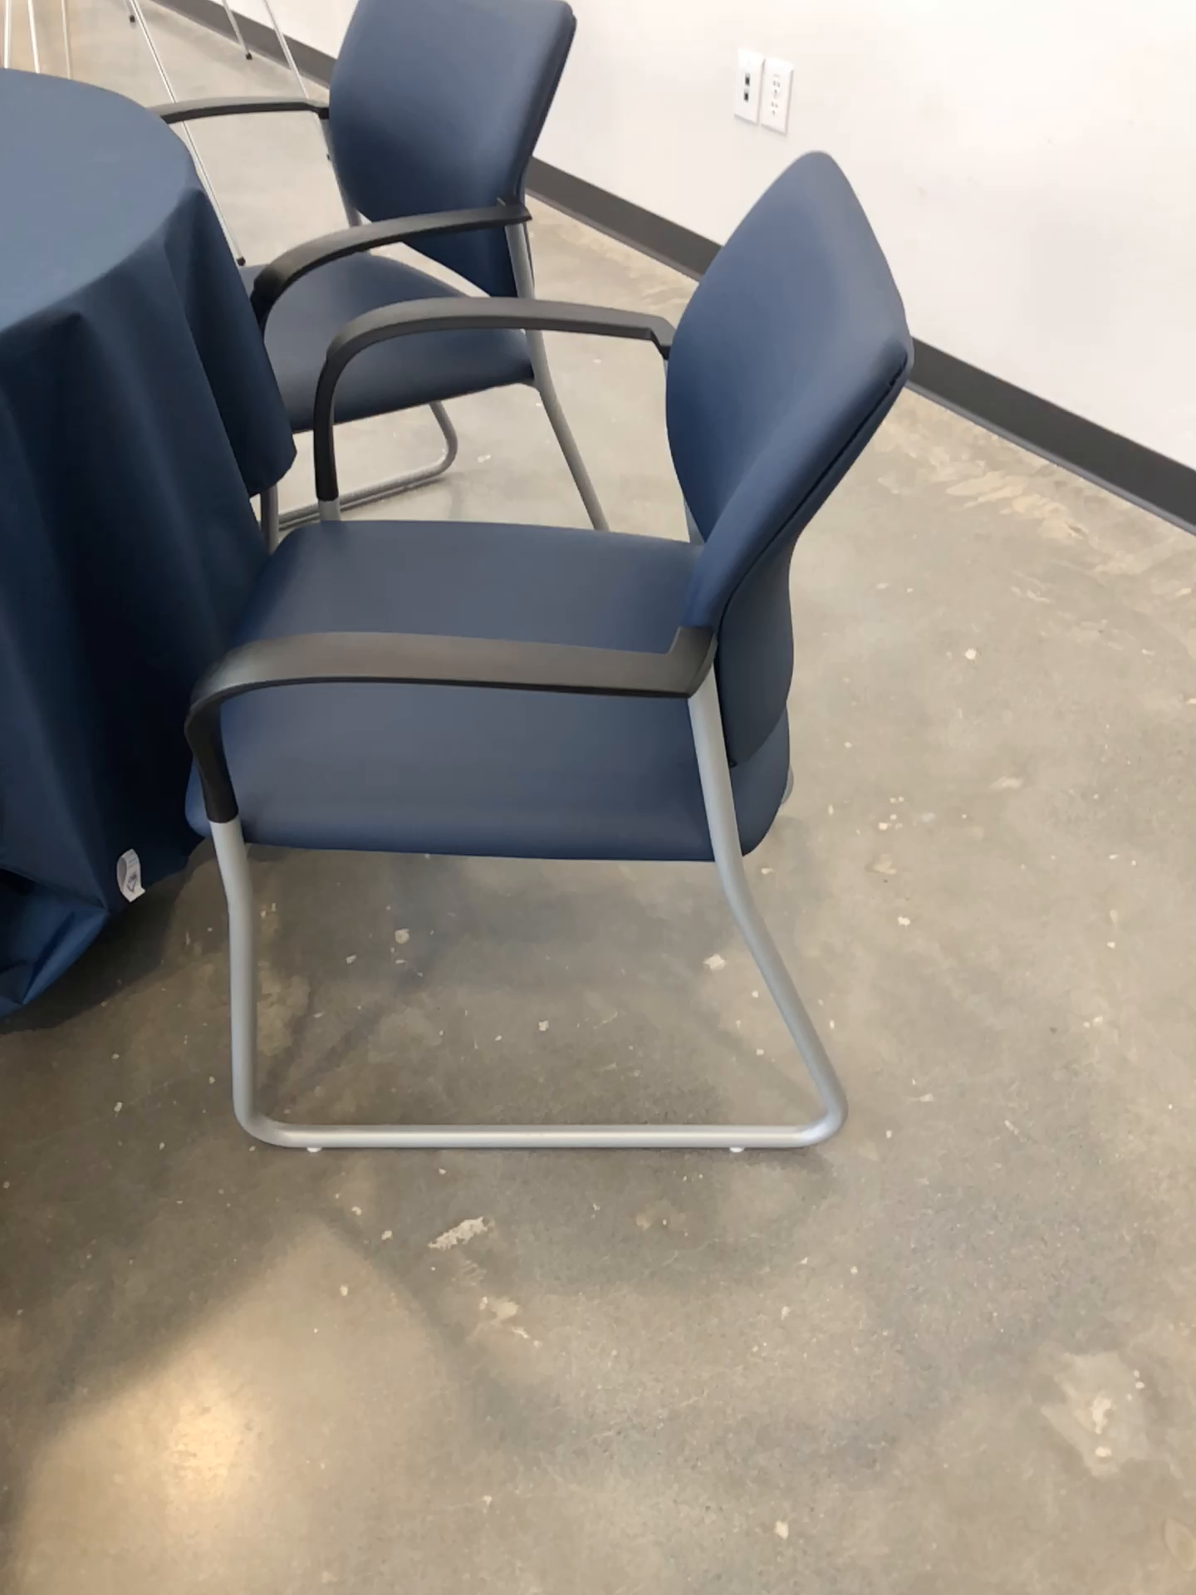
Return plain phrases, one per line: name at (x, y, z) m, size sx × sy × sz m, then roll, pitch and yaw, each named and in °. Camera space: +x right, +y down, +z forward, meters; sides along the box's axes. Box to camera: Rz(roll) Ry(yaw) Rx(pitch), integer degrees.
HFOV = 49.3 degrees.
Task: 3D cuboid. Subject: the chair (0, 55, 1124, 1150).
chair at (-0.048, -0.168, 1.202) m, size 0.670 × 0.764 × 0.645 m, roll 0°, pitch 43°, yaw 0°
